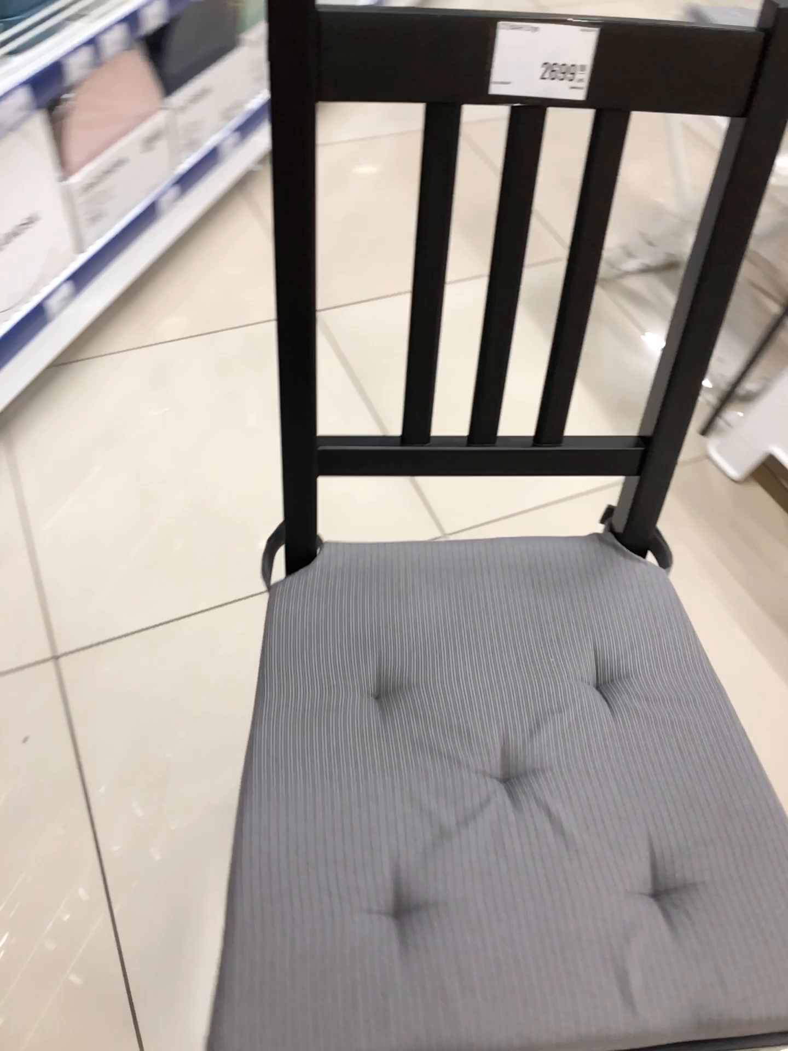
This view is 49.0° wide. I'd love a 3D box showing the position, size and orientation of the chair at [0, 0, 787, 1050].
[{"bbox_3d":[0.046,0.155,0.658,0.400,0.855,0.463,-2,51,-6],"label":"chair"}]
